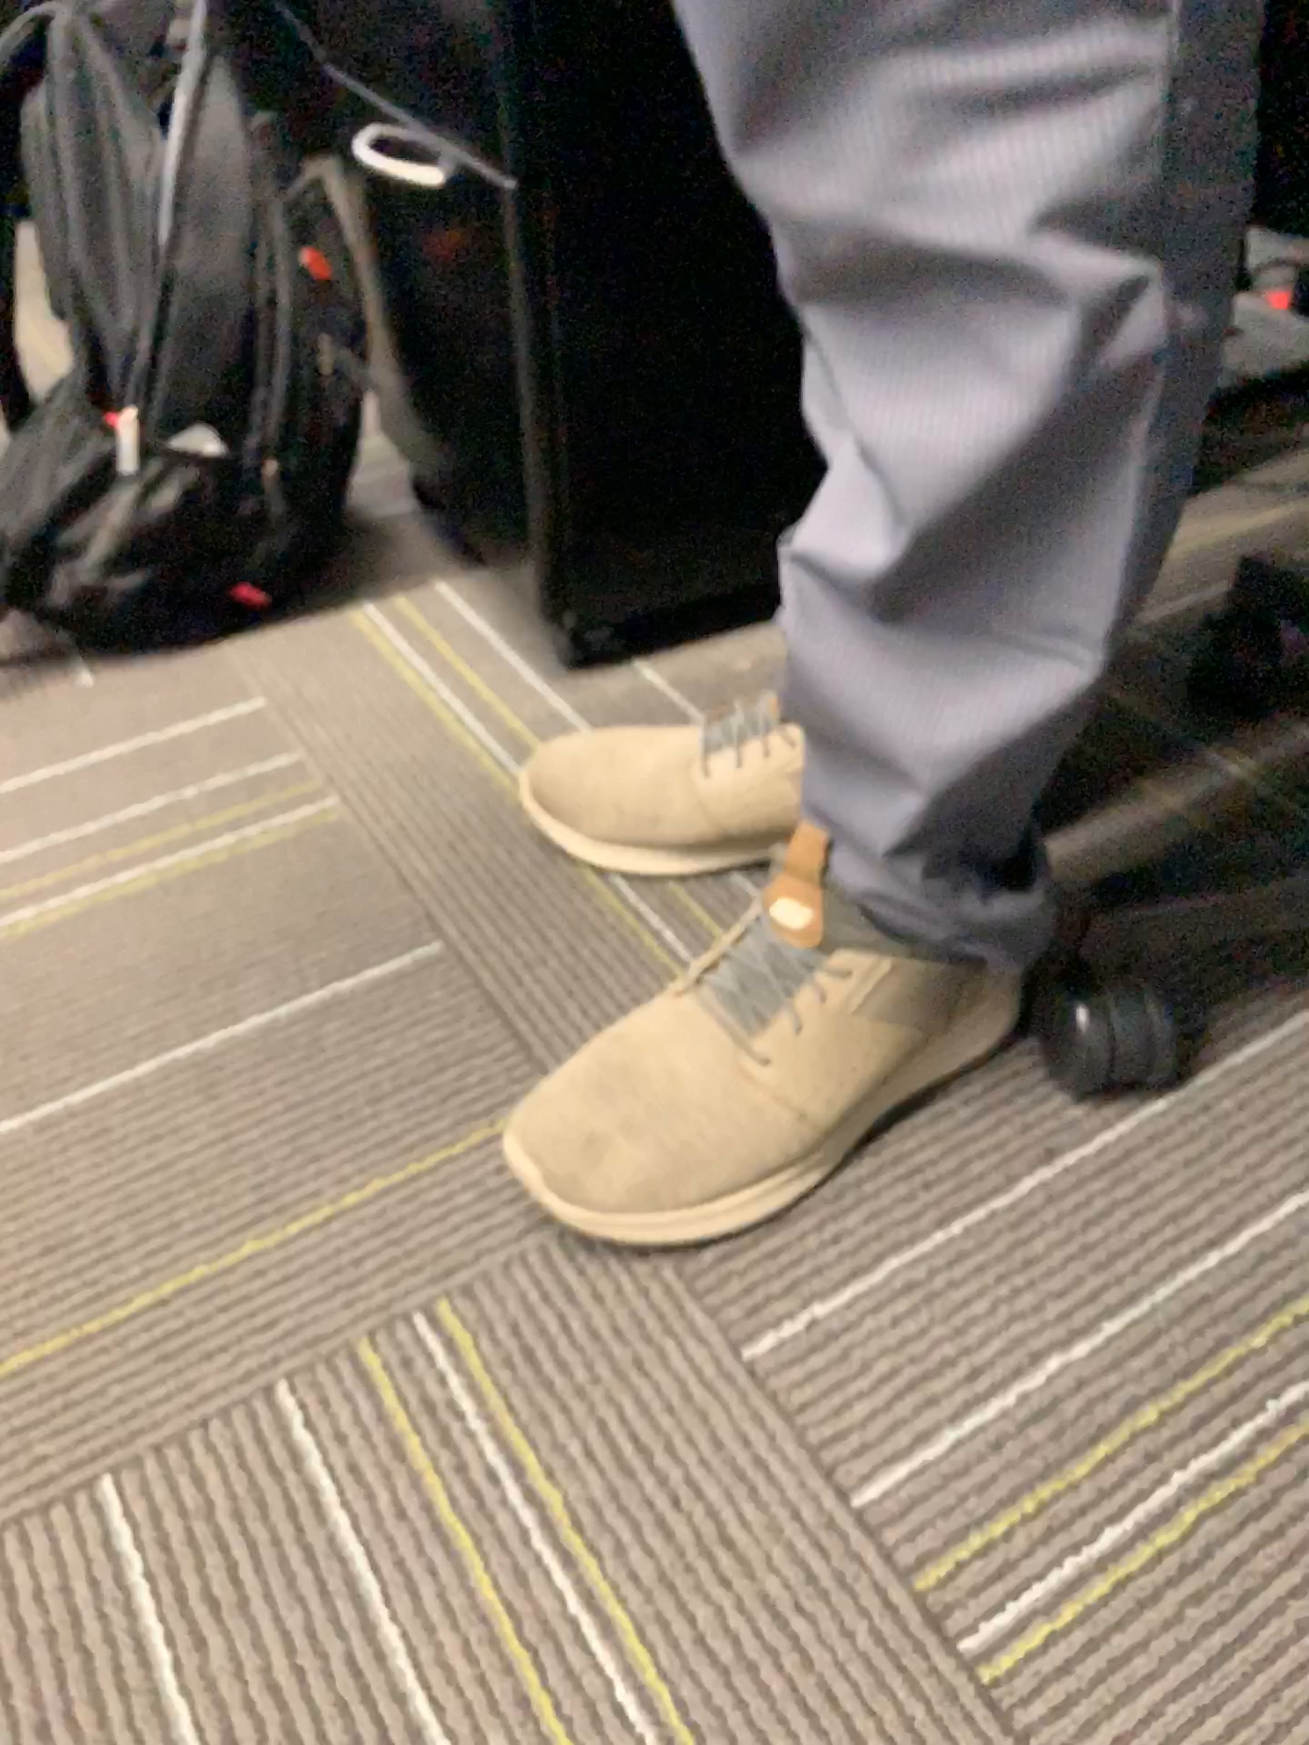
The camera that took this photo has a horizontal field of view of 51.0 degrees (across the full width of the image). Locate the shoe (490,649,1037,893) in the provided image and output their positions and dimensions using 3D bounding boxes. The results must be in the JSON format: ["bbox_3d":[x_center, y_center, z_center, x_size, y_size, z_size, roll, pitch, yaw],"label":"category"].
[{"bbox_3d":[0.062,-0.063,0.831,0.301,0.098,0.108,1,40,3],"label":"shoe"}]

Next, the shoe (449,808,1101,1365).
[{"bbox_3d":[0.065,0.093,0.691,0.302,0.098,0.126,-26,46,-26],"label":"shoe"}]
